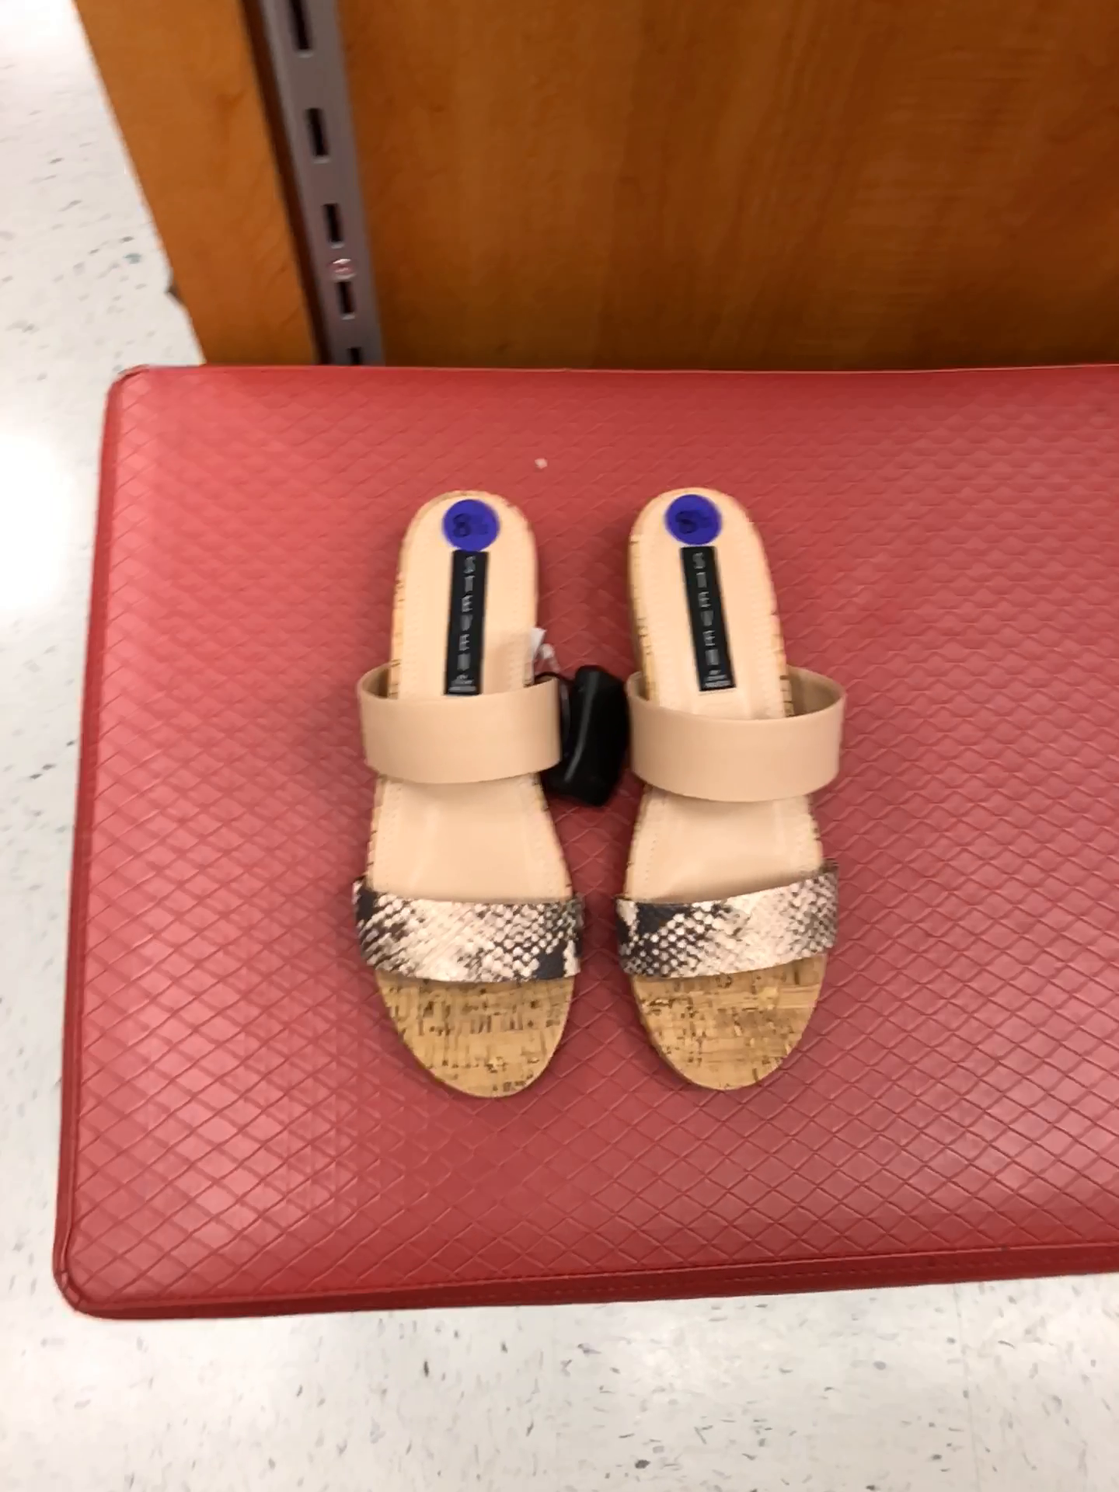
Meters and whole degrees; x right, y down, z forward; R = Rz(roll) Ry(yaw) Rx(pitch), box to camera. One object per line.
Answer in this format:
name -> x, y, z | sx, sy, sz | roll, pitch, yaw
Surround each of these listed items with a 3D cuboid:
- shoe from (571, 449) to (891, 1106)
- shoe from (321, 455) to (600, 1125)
shoe -> 0.062, 0.013, 0.513 | 0.096, 0.085, 0.257 | -1, 73, -4
shoe -> -0.044, 0.018, 0.507 | 0.095, 0.085, 0.257 | -2, 73, -4
